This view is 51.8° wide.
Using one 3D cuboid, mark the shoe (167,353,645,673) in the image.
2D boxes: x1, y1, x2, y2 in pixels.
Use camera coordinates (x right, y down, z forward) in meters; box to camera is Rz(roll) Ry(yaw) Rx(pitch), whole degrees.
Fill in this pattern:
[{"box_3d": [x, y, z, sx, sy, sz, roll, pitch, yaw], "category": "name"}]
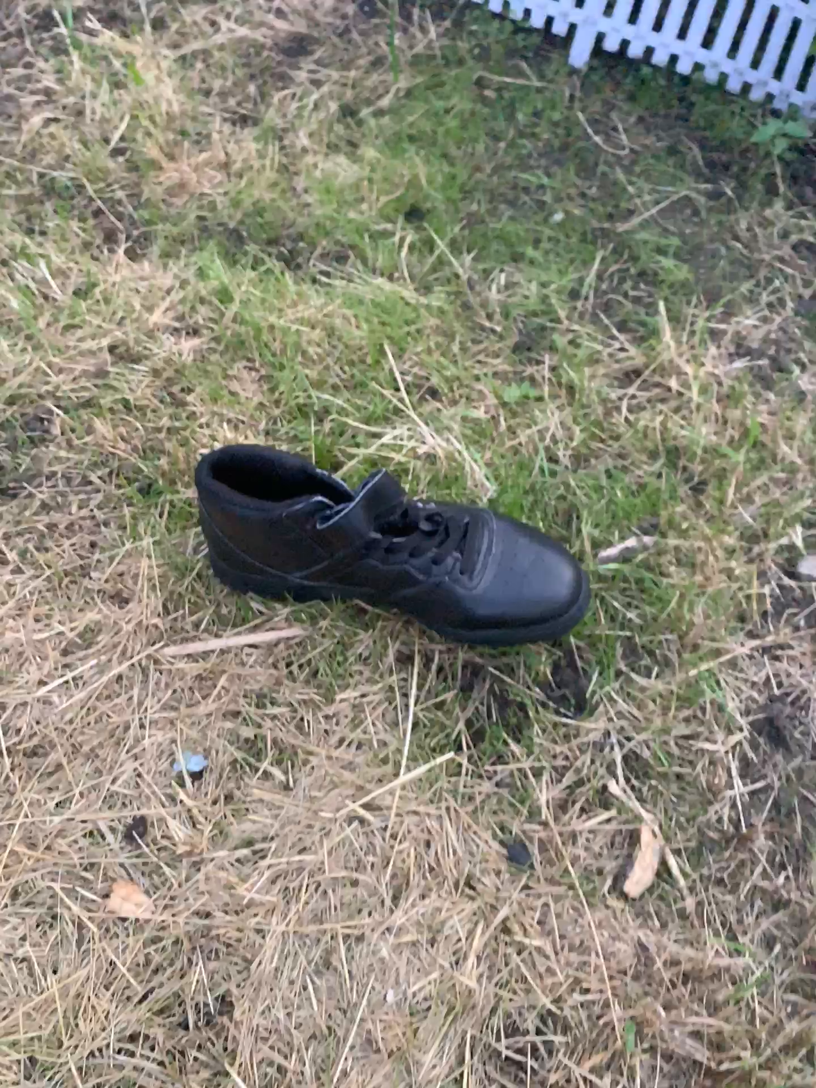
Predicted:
[{"box_3d": [0.001, -0.016, 0.540, 0.260, 0.139, 0.101, 10, 56, 5], "category": "shoe"}]
